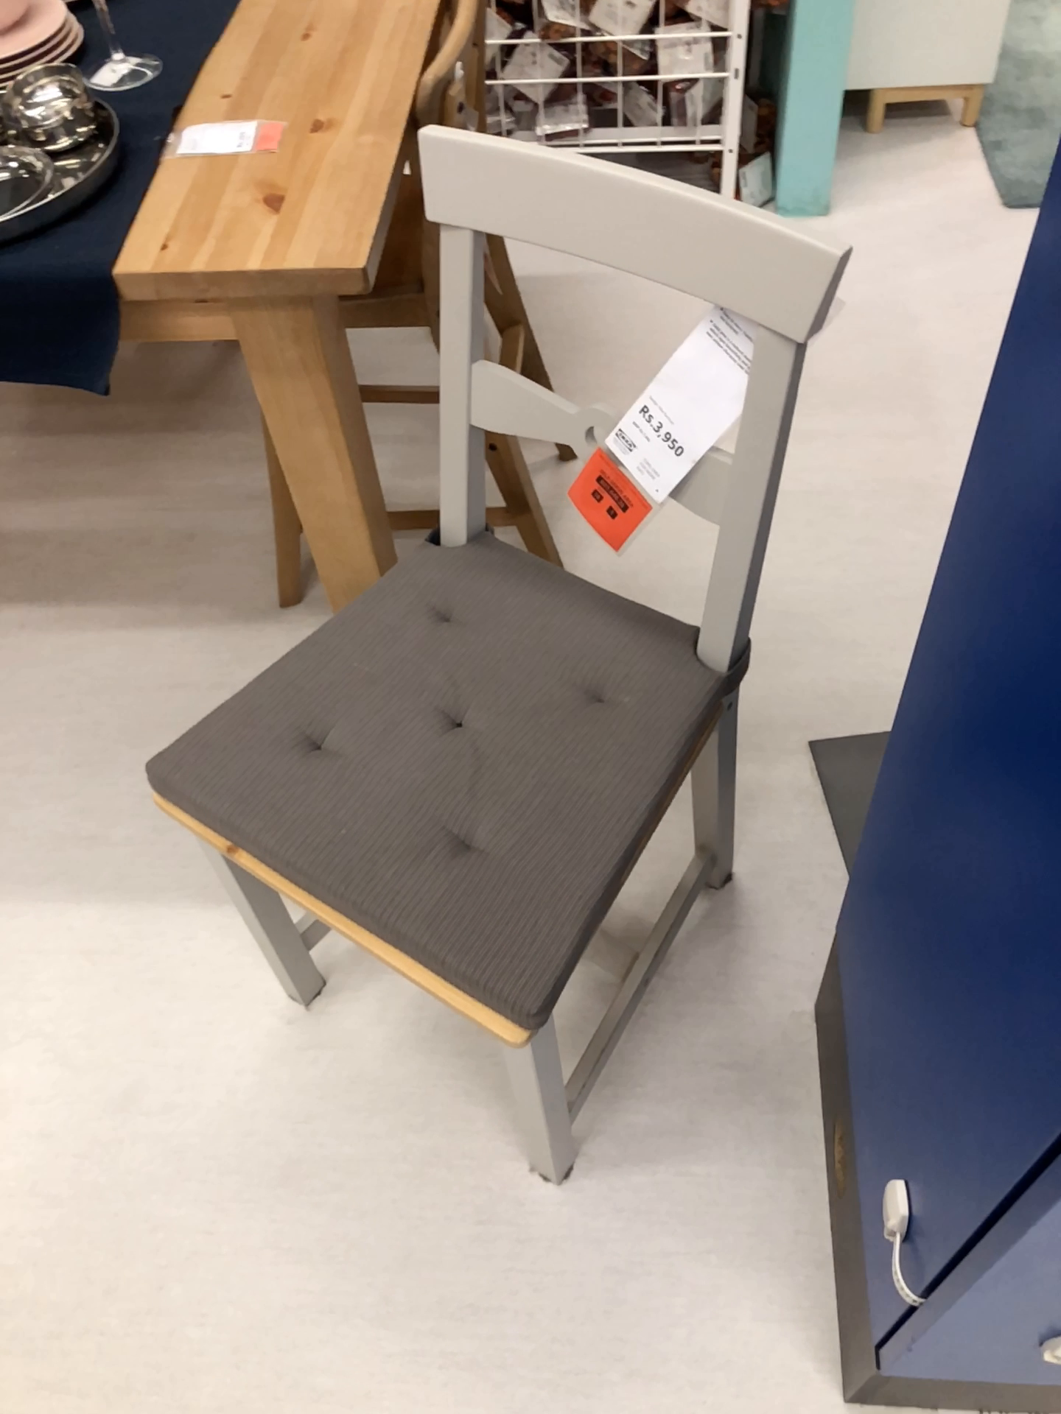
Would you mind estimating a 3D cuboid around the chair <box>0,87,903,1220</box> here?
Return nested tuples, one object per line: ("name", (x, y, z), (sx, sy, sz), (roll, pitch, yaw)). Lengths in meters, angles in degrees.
("chair", (-0.050, 0.005, 1.003), (0.431, 0.766, 0.471), (27, 59, 23))
